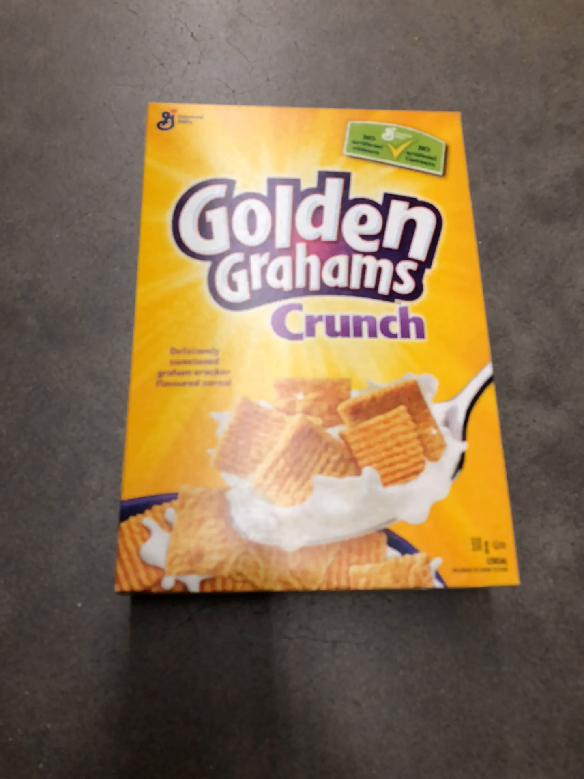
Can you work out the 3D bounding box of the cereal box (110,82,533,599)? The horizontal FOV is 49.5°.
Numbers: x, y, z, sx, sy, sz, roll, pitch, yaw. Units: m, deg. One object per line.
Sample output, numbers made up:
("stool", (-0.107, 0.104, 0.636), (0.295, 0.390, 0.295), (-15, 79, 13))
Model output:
("cereal box", (0.012, -0.035, 0.379), (0.200, 0.070, 0.301), (0, 72, -2))
